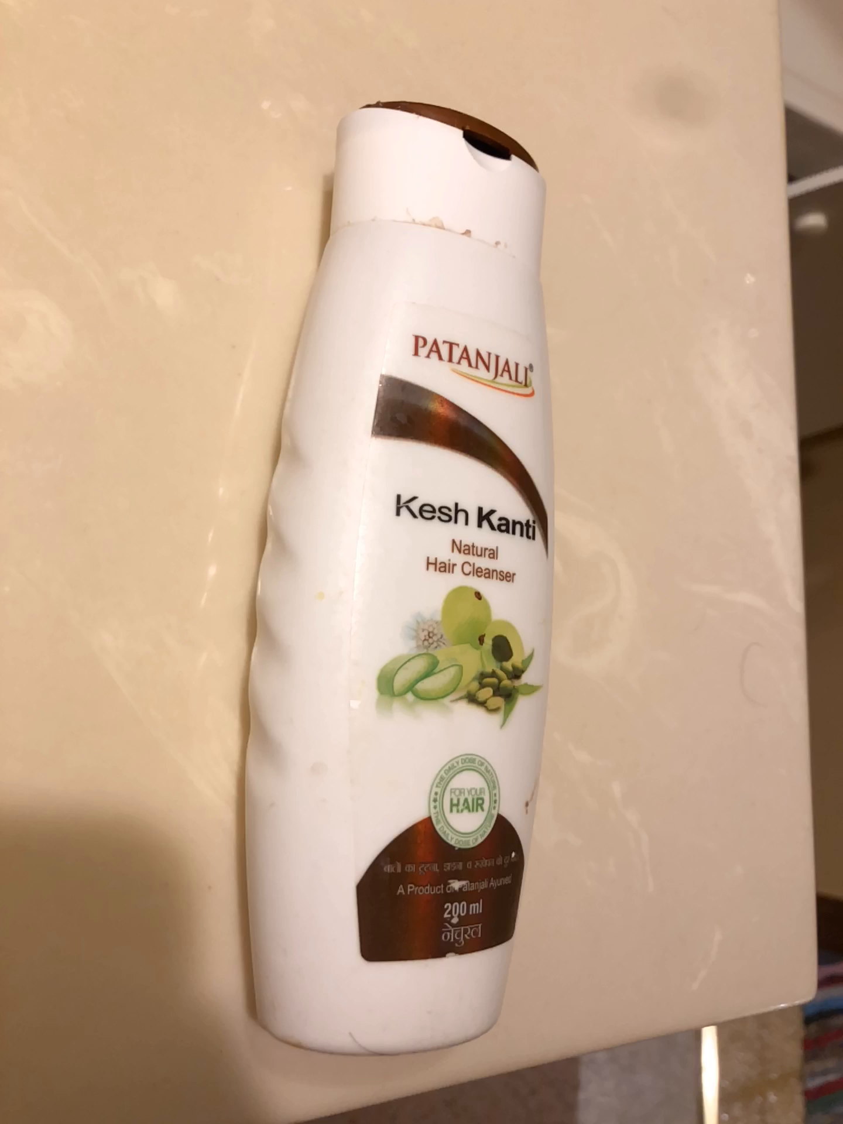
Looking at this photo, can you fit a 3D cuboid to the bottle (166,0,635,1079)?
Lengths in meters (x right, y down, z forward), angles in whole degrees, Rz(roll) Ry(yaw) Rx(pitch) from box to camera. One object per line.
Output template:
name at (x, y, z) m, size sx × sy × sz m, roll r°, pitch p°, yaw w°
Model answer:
bottle at (0.000, -0.011, 0.196) m, size 0.070 × 0.040 × 0.200 m, roll 10°, pitch 79°, yaw -29°
